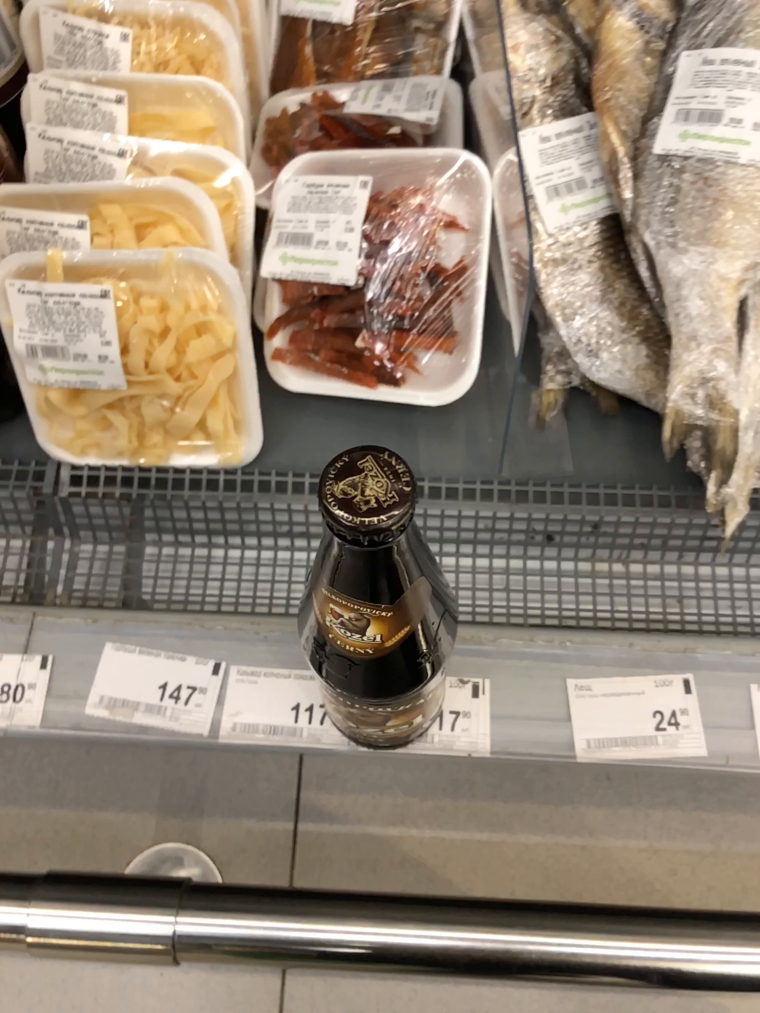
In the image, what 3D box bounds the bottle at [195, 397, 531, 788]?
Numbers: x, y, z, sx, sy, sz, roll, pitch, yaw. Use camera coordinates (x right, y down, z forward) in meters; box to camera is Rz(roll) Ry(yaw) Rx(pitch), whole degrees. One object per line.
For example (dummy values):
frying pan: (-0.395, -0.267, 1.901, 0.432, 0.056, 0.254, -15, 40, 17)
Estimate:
bottle: (-0.001, 0.054, 0.331, 0.070, 0.232, 0.070, 0, 67, 1)
